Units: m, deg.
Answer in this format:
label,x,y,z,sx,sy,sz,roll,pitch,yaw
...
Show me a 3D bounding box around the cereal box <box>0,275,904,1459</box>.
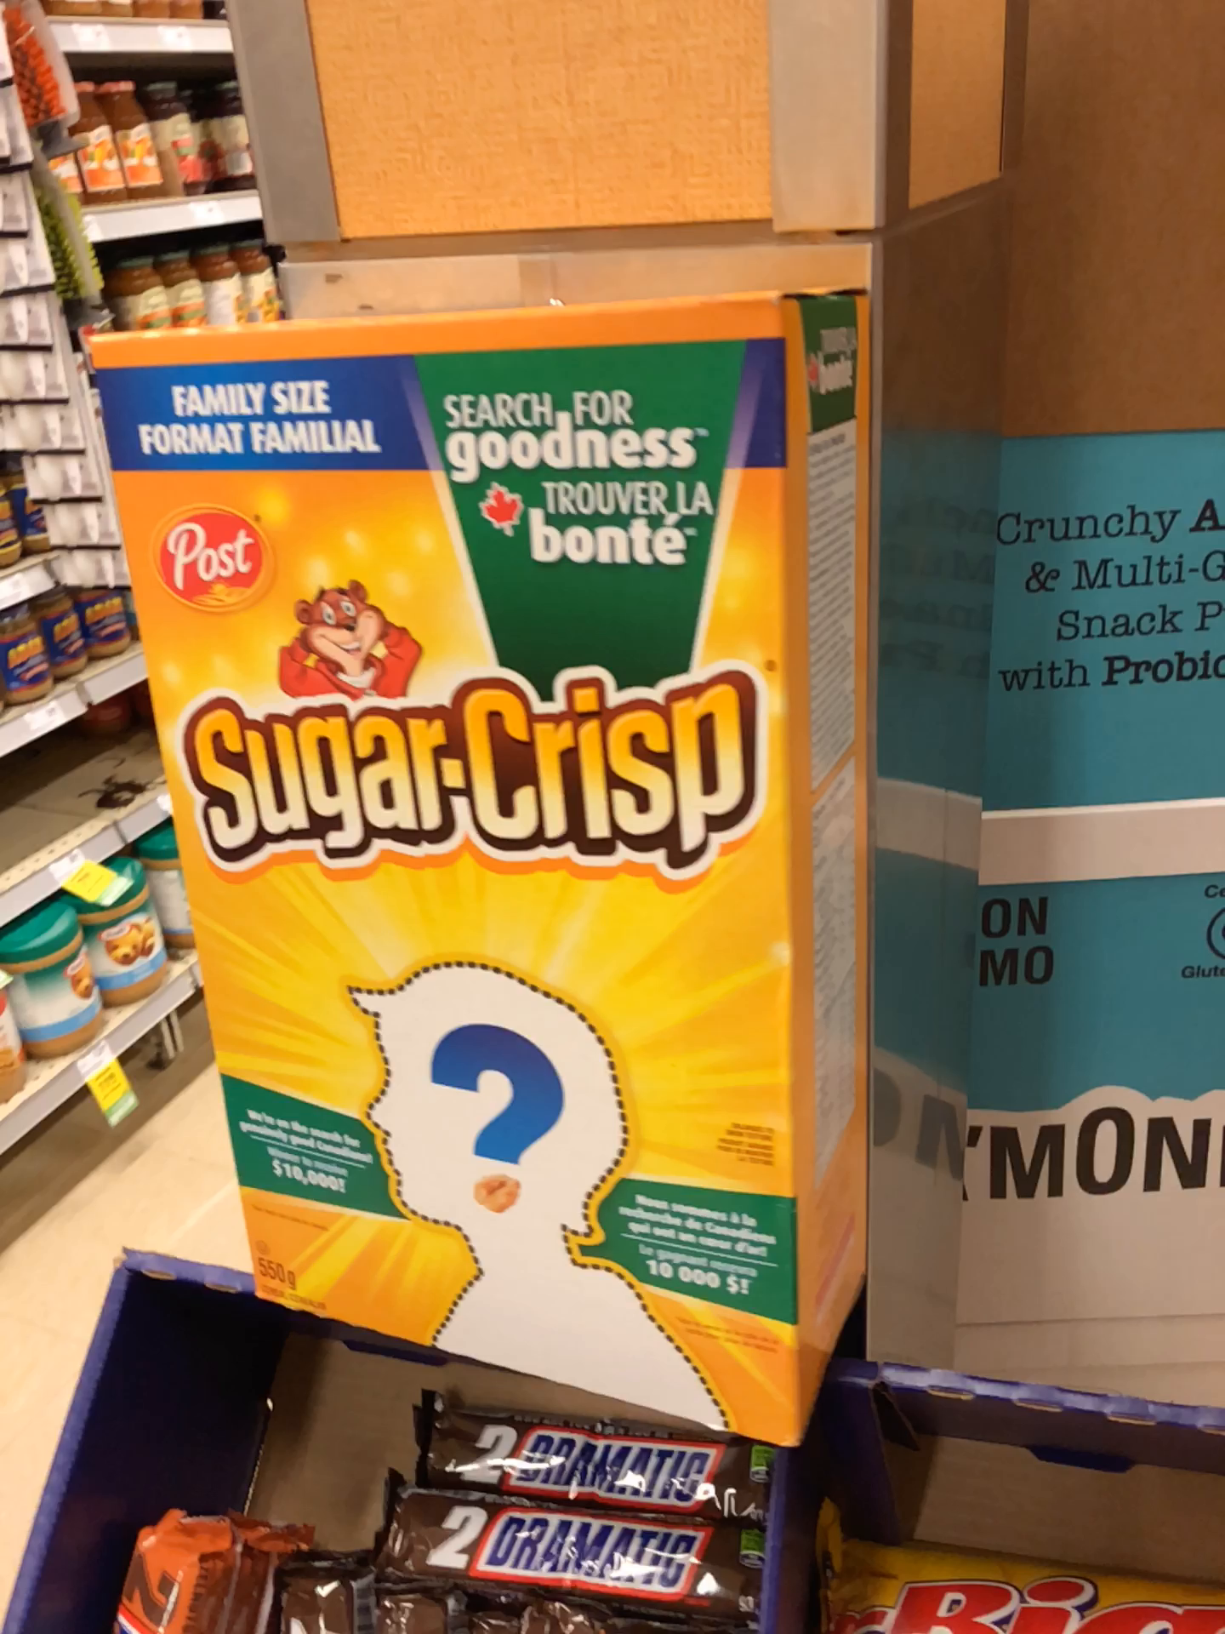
label,x,y,z,sx,sy,sz,roll,pitch,yaw
cereal box,-0.037,0.010,0.392,0.220,0.298,0.080,6,21,23
